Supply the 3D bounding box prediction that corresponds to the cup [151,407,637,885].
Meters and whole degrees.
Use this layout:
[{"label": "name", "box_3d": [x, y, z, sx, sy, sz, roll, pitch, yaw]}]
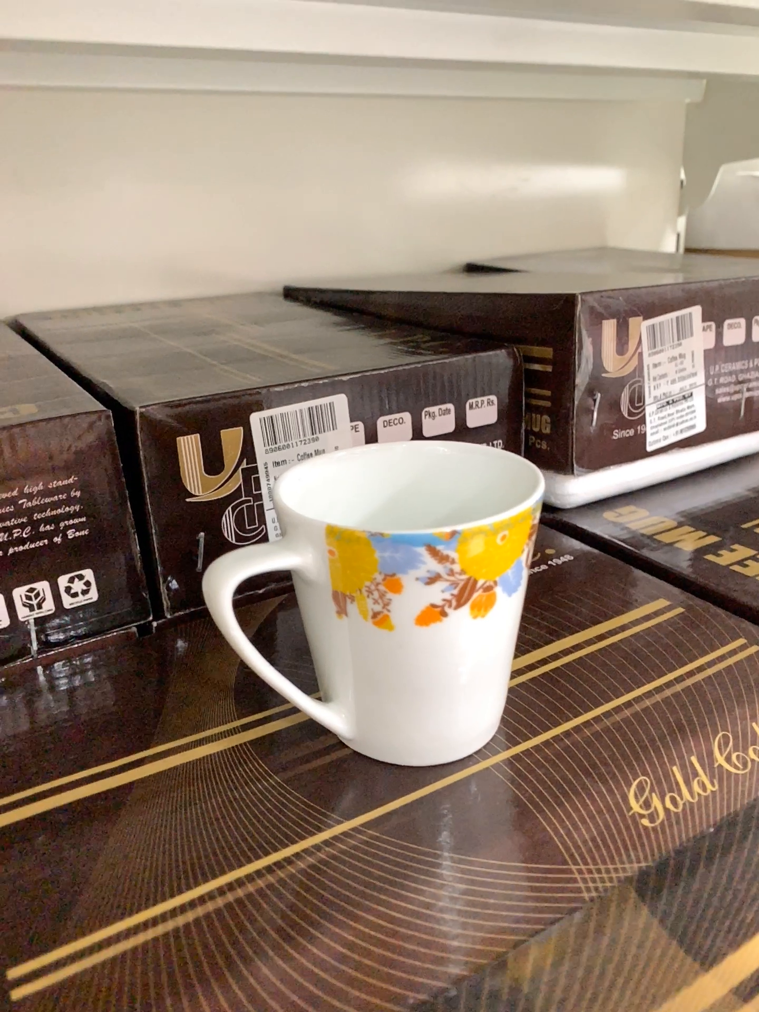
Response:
[{"label": "cup", "box_3d": [0.003, 0.023, 0.196, 0.090, 0.070, 0.070, -14, 24, -28]}]
